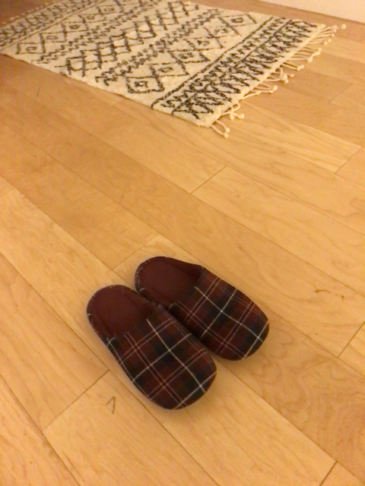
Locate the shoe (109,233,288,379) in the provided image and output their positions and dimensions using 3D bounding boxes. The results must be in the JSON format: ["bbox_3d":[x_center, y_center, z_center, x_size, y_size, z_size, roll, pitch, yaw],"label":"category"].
[{"bbox_3d":[0.019,0.087,0.644,0.271,0.030,0.121,30,58,29],"label":"shoe"}]

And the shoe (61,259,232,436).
[{"bbox_3d":[-0.064,0.141,0.607,0.120,0.030,0.271,-35,54,-23],"label":"shoe"}]
